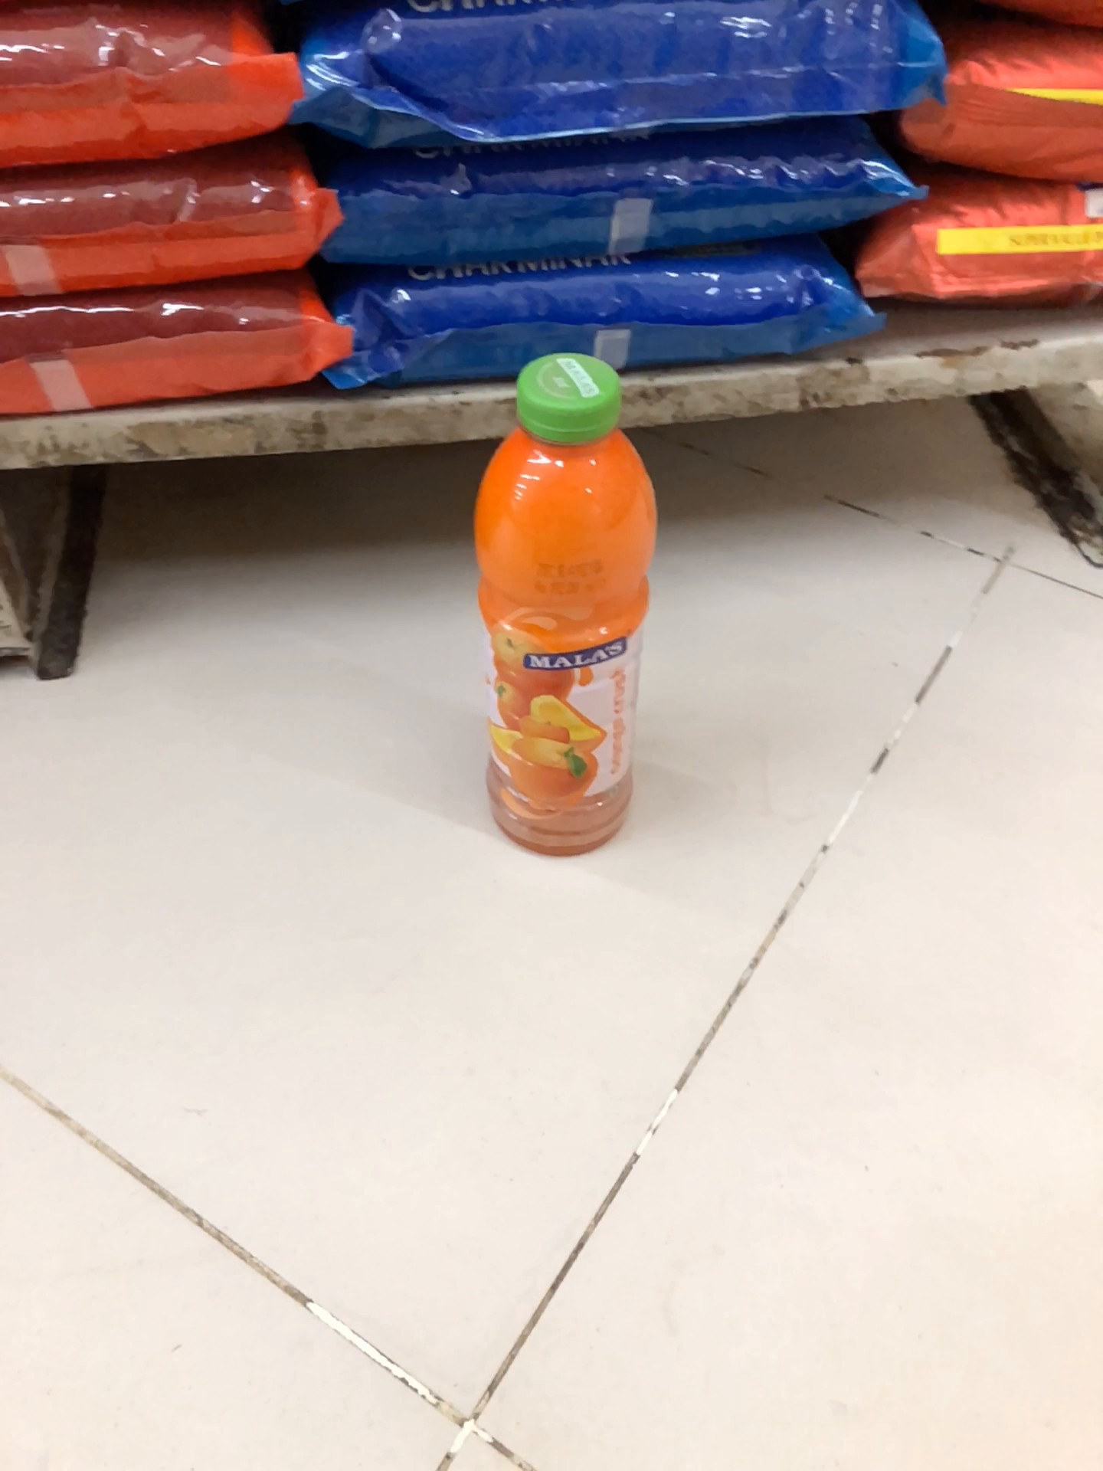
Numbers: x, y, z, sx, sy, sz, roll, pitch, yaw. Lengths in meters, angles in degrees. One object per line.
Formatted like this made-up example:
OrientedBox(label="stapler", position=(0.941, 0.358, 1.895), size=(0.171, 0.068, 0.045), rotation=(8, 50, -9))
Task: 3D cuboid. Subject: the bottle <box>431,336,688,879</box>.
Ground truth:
OrientedBox(label="bottle", position=(0.004, -0.044, 0.543), size=(0.090, 0.238, 0.091), rotation=(0, 48, 0))
